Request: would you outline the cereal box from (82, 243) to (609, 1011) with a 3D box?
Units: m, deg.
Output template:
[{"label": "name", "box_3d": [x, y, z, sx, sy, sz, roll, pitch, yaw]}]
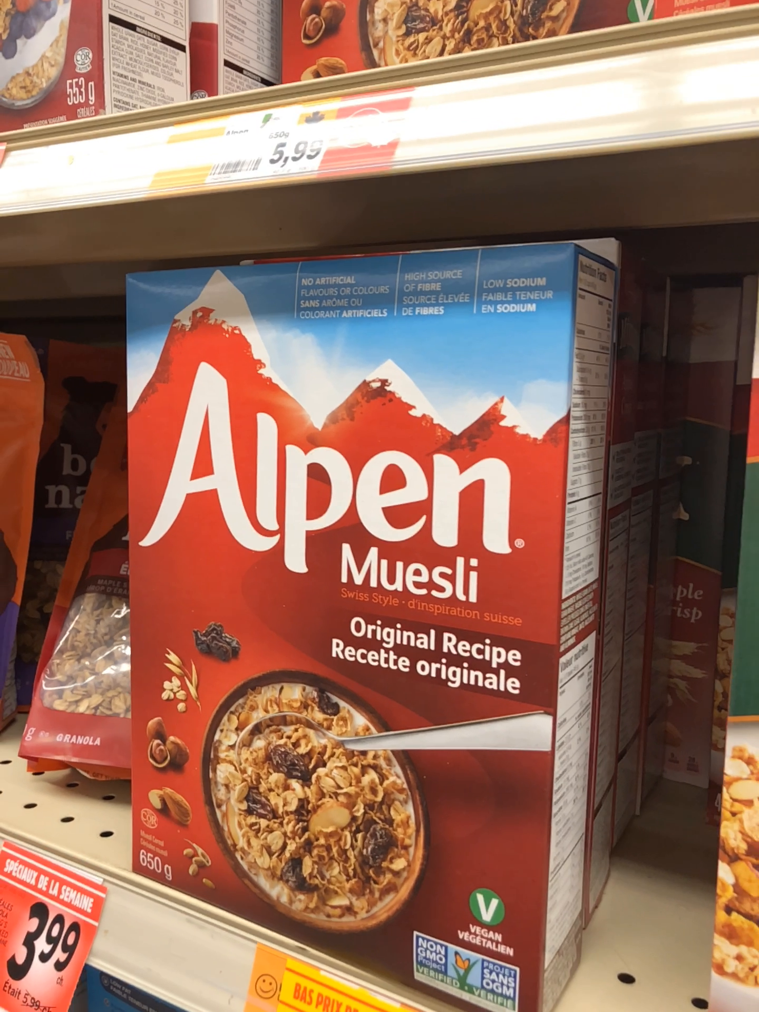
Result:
[{"label": "cereal box", "box_3d": [-0.019, 0.036, 0.312, 0.180, 0.239, 0.060, 6, 9, 29]}]
